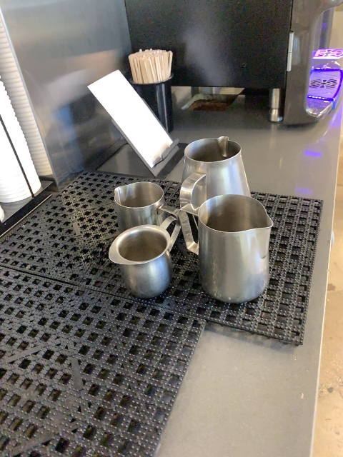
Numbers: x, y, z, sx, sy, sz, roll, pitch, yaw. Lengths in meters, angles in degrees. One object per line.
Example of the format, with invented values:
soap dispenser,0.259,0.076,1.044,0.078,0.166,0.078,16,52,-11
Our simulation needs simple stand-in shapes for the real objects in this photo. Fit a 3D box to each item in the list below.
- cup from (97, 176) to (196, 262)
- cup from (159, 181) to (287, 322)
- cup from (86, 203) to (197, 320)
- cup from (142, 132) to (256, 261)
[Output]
cup,-0.033,-0.017,0.496,0.110,0.070,0.070,18,43,30
cup,0.063,0.024,0.432,0.120,0.119,0.080,17,43,29
cup,-0.030,0.035,0.426,0.070,0.070,0.110,21,45,32
cup,0.047,-0.055,0.530,0.100,0.119,0.140,20,45,32
